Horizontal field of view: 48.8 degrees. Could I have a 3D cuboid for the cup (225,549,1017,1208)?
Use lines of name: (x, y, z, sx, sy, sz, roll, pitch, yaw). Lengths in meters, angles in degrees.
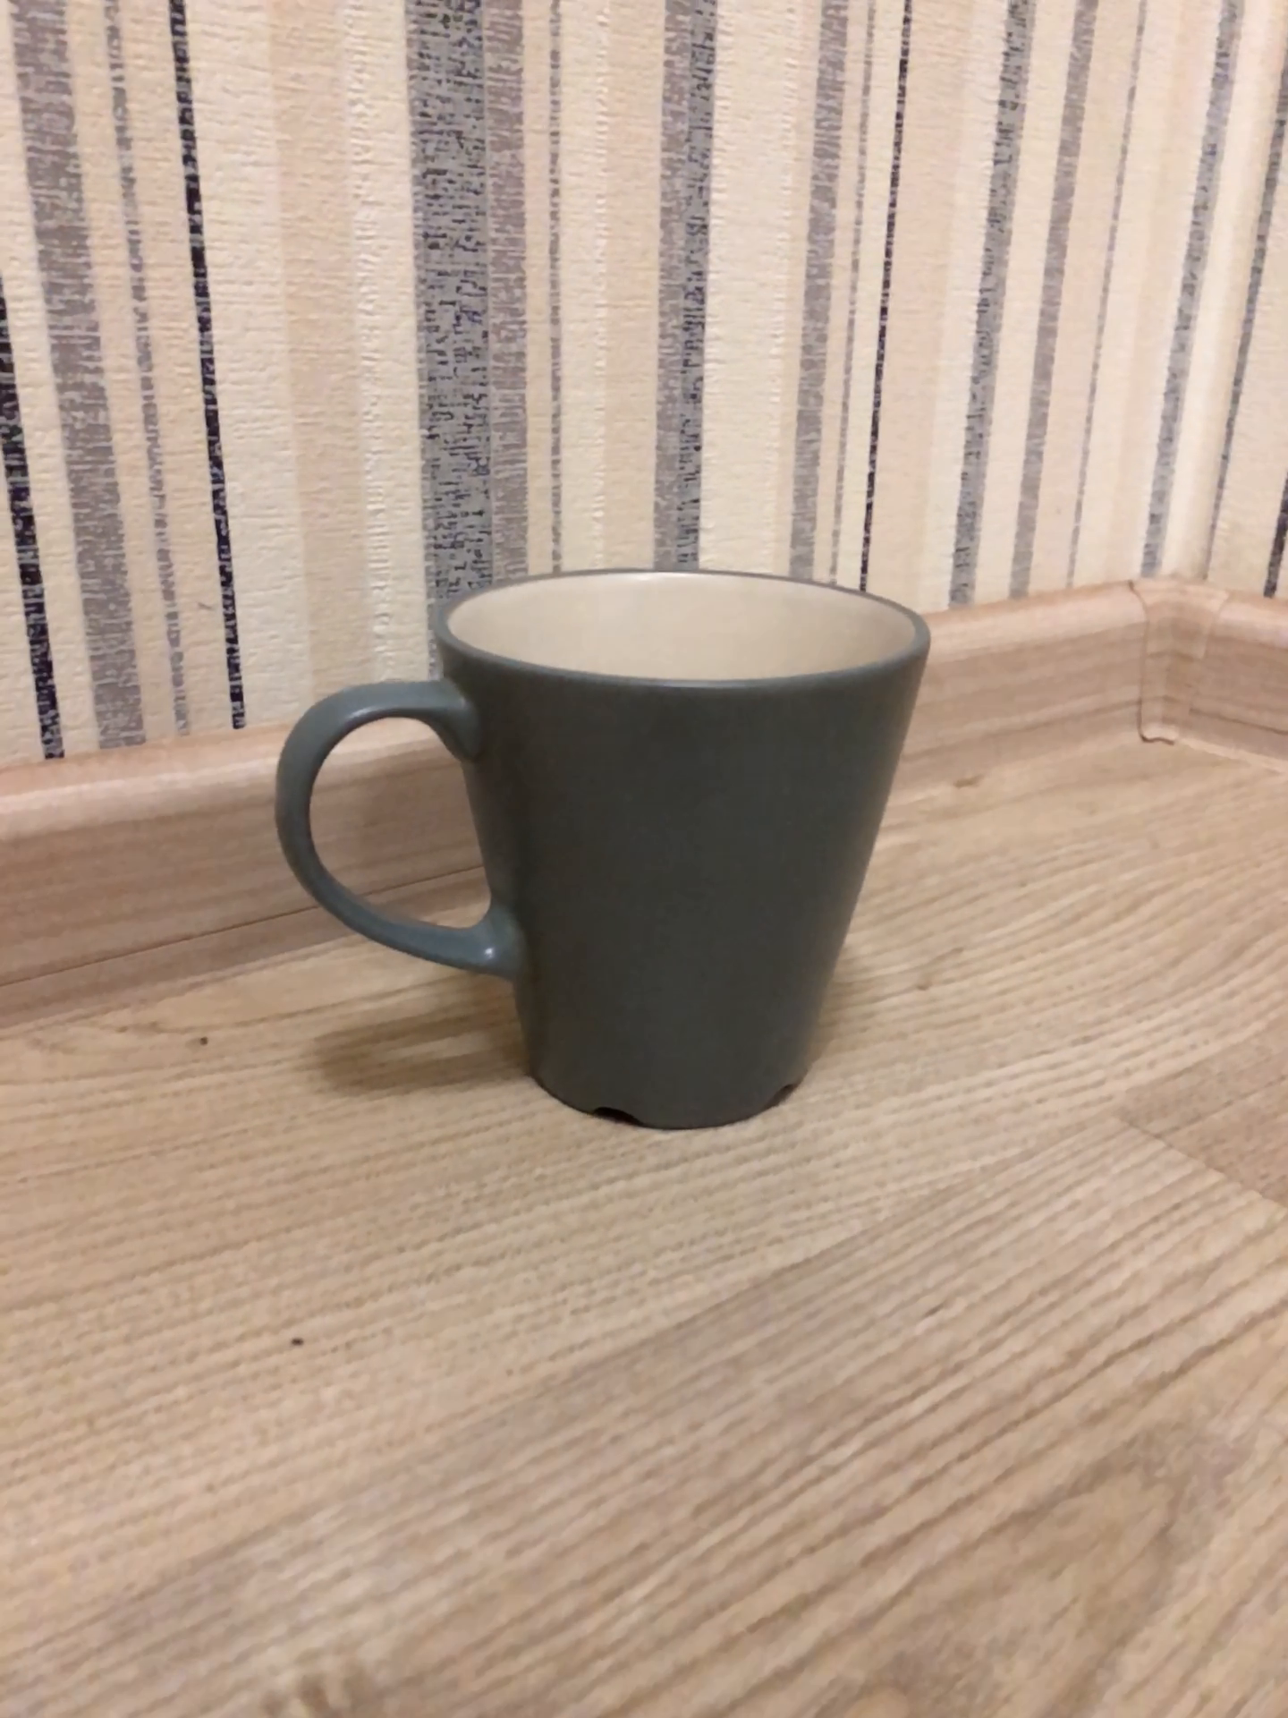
cup: (-0.010, -0.008, 0.289, 0.124, 0.089, 0.096, -8, 23, -24)
